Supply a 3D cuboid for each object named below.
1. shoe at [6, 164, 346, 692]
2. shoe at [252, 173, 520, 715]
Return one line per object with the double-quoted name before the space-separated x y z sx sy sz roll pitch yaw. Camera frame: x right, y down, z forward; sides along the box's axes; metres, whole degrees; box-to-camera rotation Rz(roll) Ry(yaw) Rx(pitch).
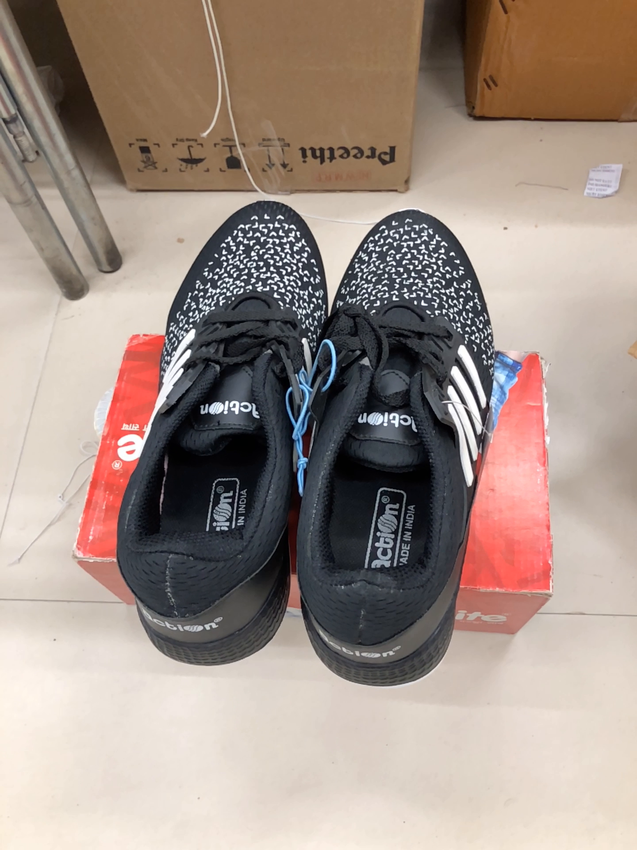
"shoe" -0.055 -0.006 0.391 0.111 0.103 0.267 5 63 6
"shoe" 0.045 0.003 0.383 0.101 0.103 0.267 6 63 6
